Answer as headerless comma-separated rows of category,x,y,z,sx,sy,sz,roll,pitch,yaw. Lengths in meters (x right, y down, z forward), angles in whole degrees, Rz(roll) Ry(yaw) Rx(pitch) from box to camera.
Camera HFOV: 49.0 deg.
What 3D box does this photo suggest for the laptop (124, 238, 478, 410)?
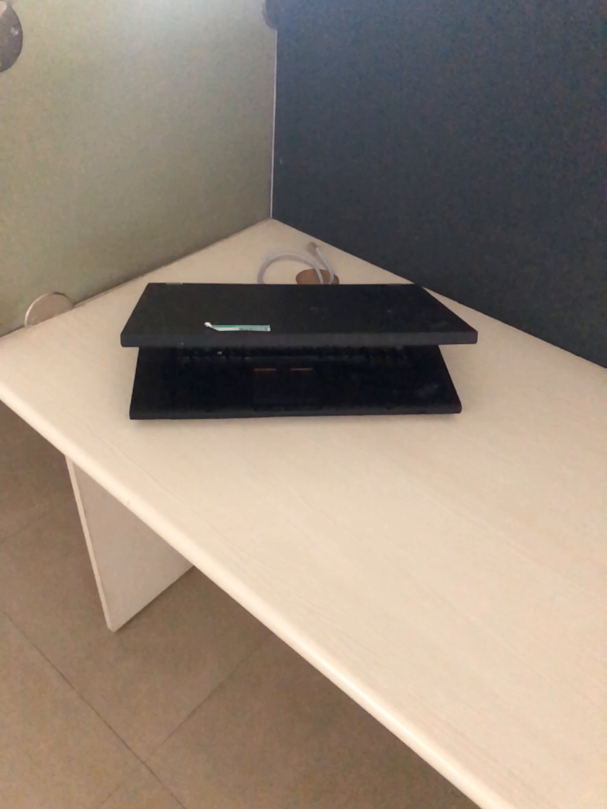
laptop,-0.010,-0.104,0.793,0.363,0.077,0.236,-1,41,-6
